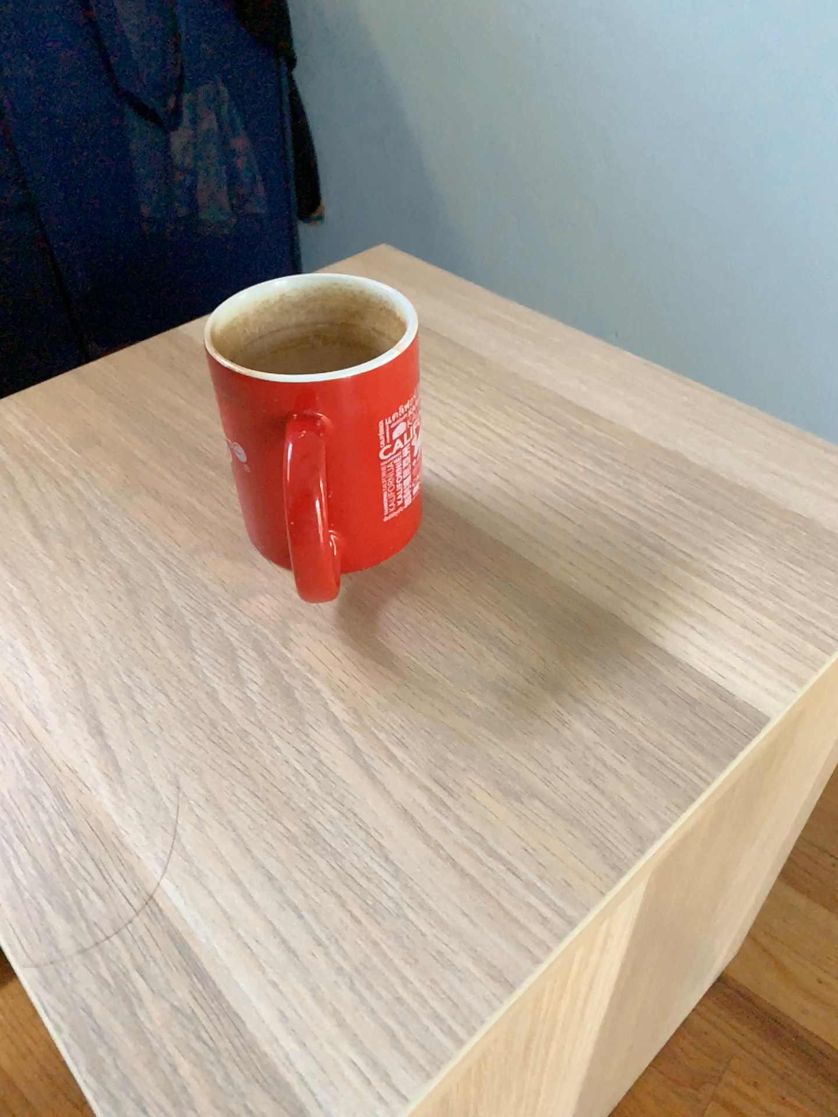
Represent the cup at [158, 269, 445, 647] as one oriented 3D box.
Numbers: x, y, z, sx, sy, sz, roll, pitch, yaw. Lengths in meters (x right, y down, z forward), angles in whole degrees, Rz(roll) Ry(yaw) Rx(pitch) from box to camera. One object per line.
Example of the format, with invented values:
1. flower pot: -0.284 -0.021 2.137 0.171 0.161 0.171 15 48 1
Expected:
1. cup: -0.037 -0.044 0.349 0.090 0.090 0.131 -1 43 1
